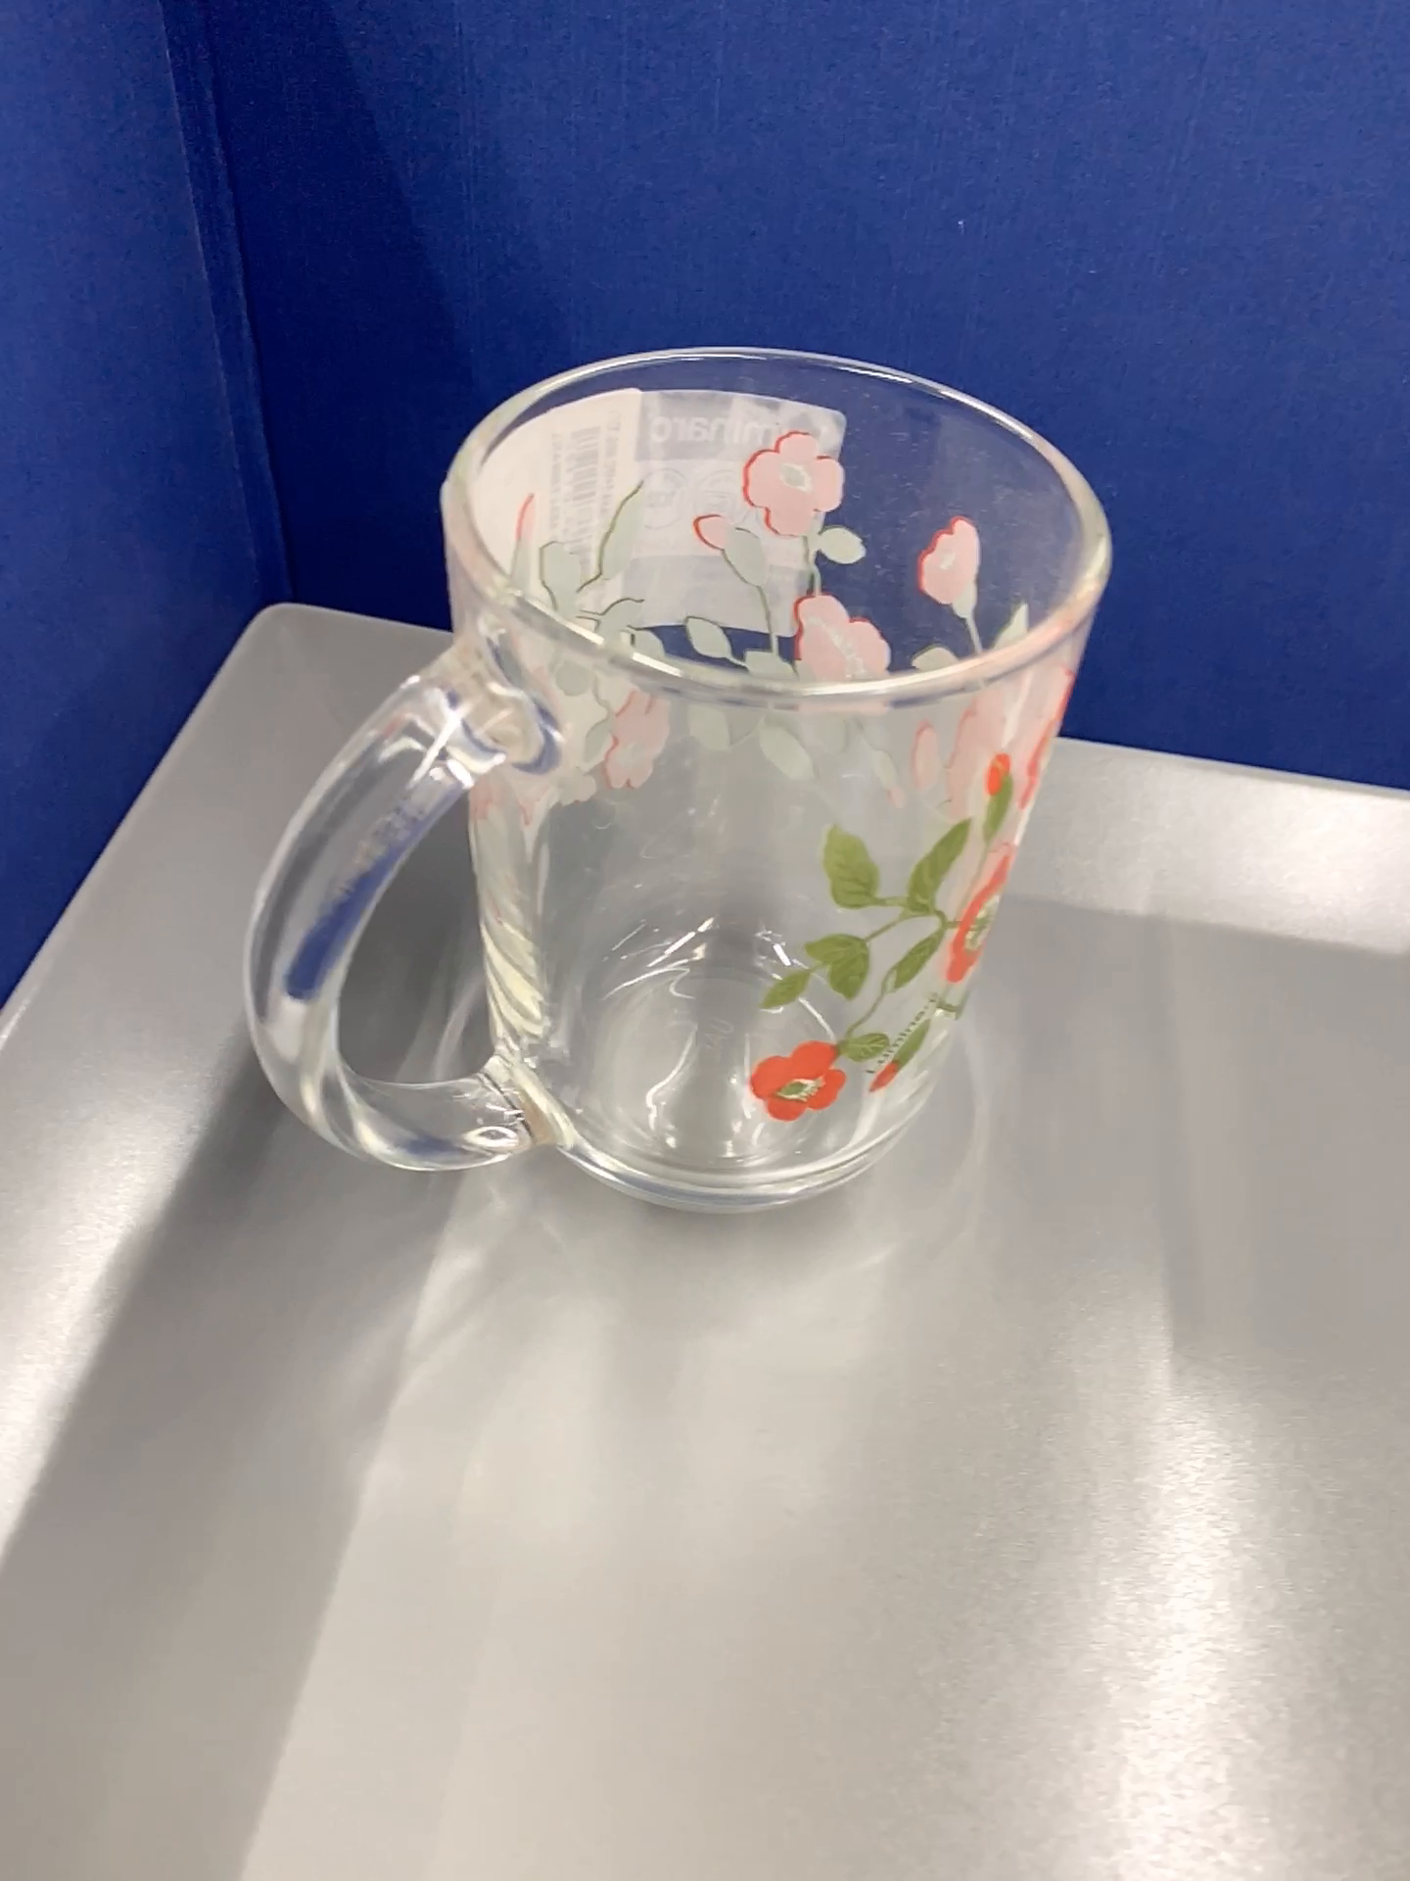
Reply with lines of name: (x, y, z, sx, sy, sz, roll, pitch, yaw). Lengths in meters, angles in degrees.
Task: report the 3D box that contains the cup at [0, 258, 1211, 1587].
cup: (-0.018, -0.010, 0.191, 0.115, 0.104, 0.088, -33, 55, -33)
